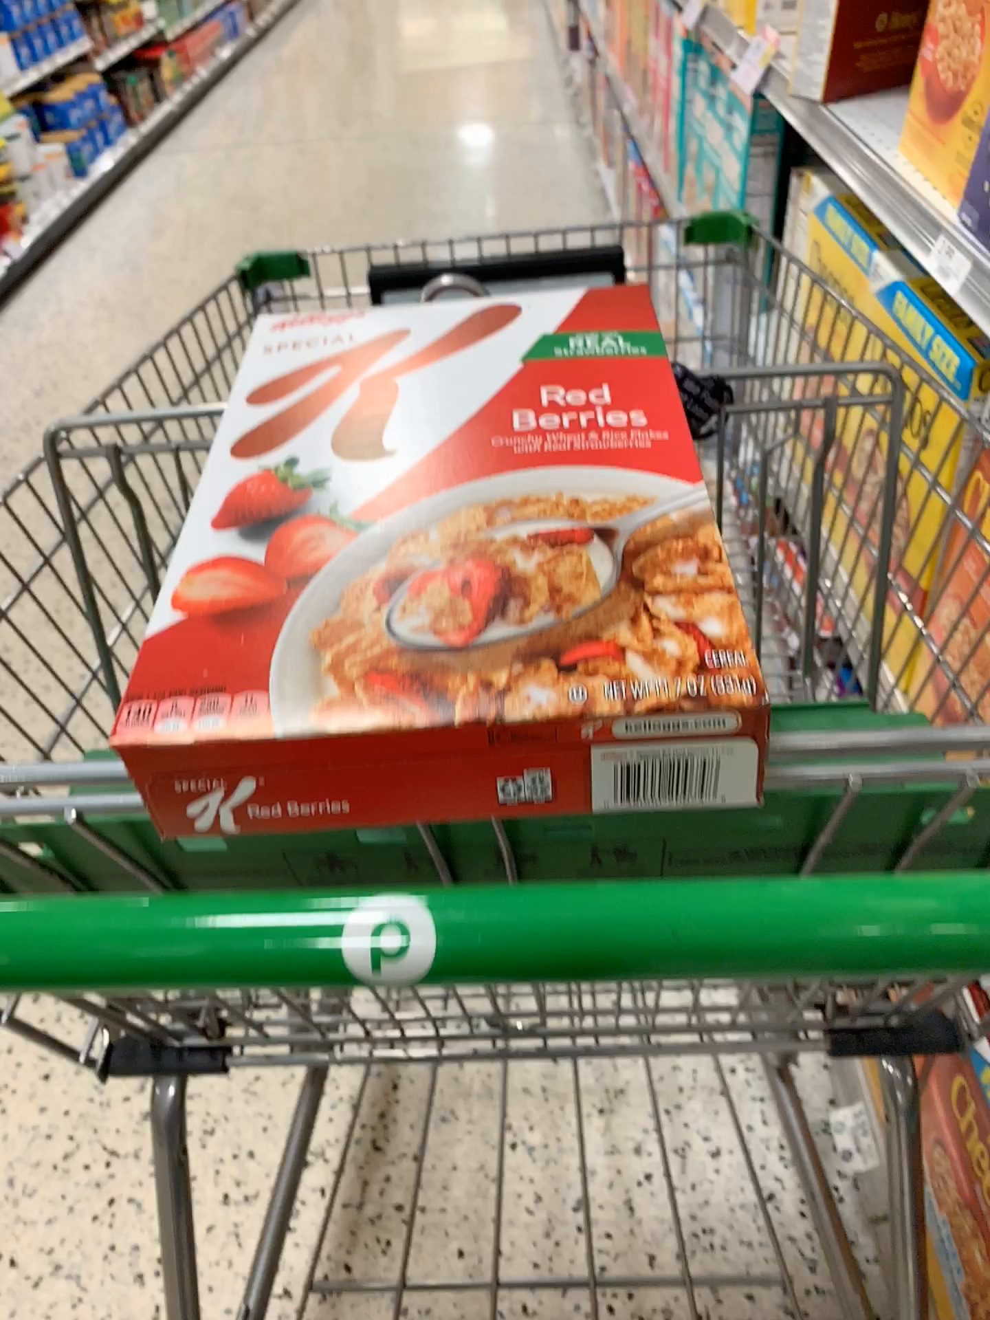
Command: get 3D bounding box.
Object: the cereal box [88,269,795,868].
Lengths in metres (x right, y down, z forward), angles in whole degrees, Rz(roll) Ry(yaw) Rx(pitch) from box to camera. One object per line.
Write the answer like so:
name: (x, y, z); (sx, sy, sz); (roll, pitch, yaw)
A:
cereal box: (-0.017, -0.061, 0.416); (0.200, 0.059, 0.293); (-4, 43, 2)
